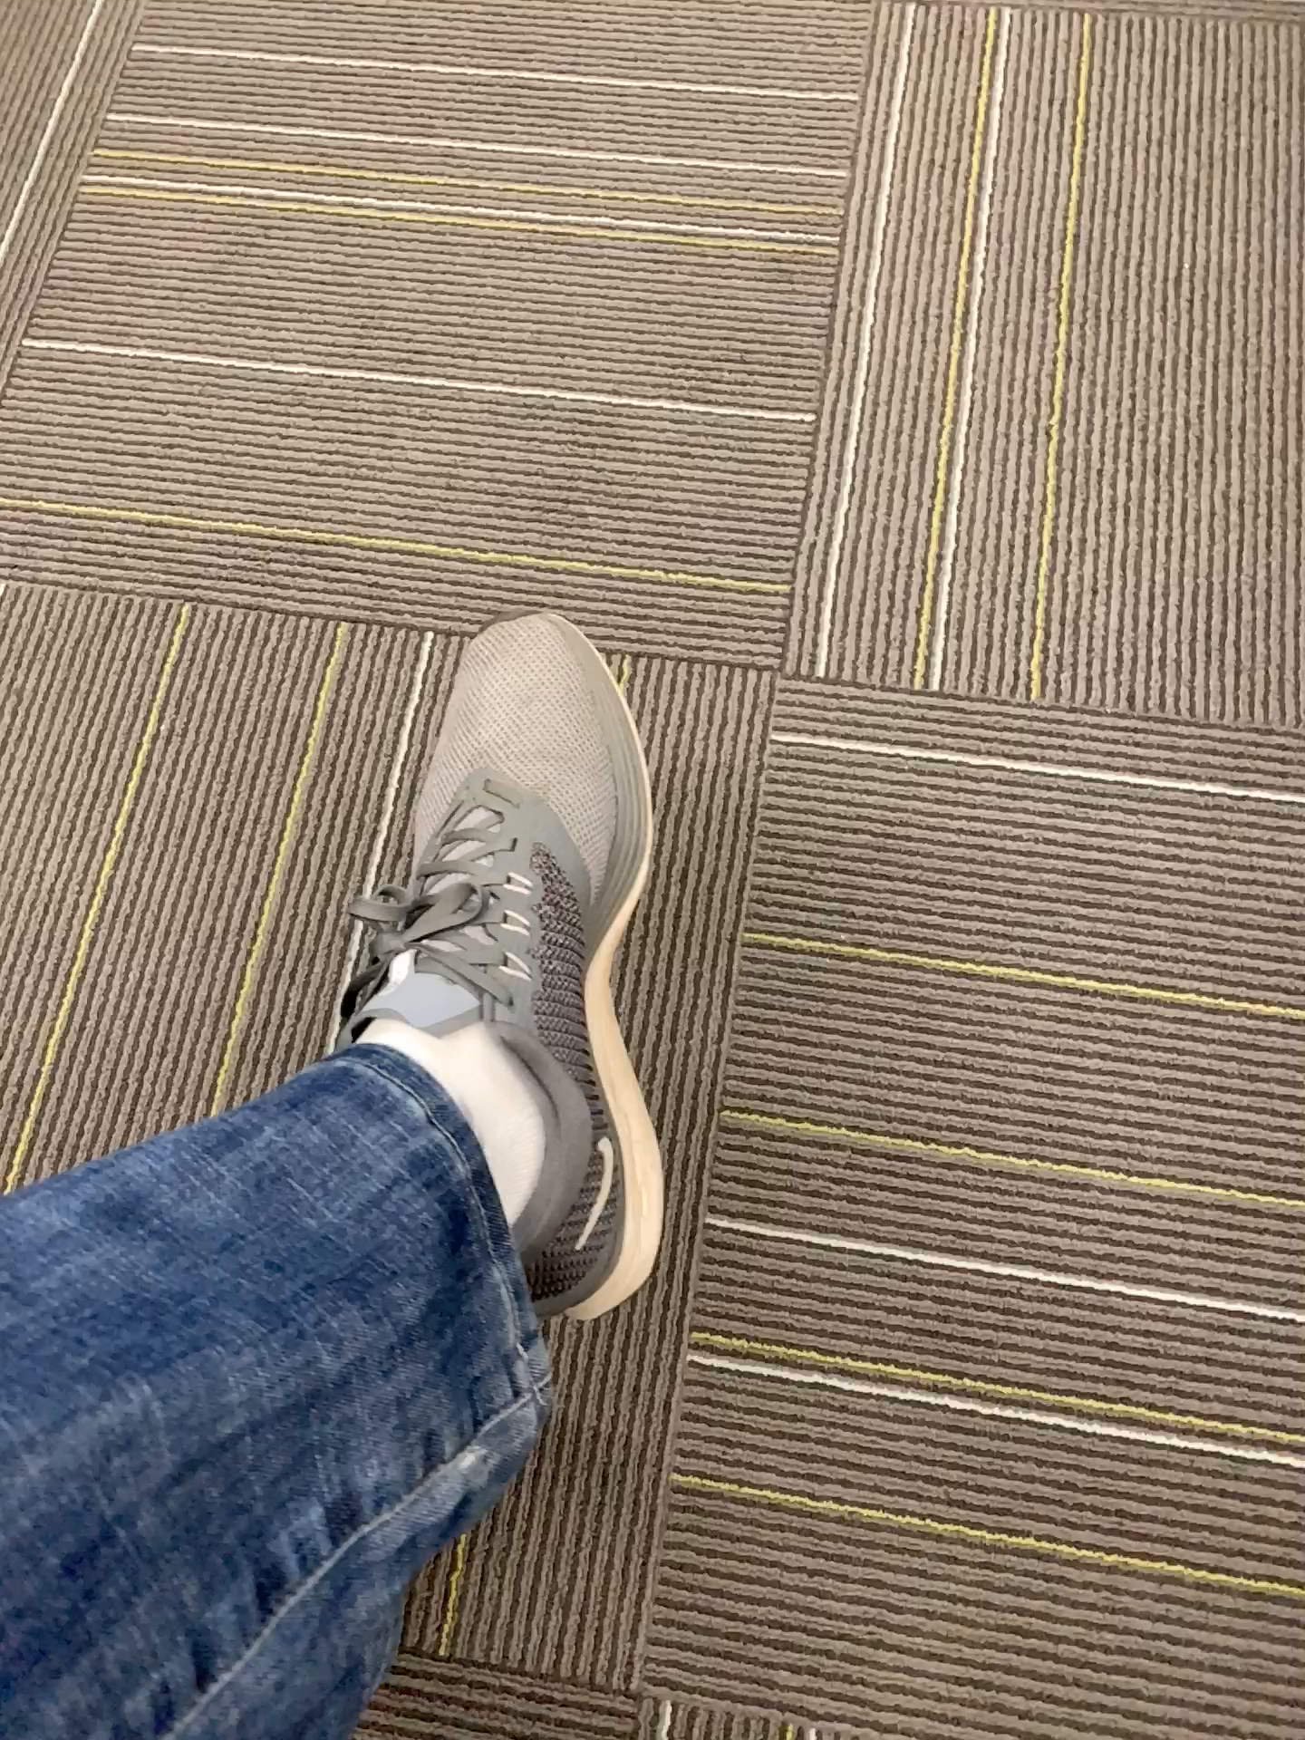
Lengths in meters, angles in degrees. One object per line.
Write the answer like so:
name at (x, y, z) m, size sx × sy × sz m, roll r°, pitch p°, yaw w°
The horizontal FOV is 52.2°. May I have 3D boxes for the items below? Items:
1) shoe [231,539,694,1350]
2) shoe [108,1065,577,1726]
shoe at (-0.076, 0.037, 0.554) m, size 0.127 × 0.115 × 0.297 m, roll -17°, pitch 63°, yaw 31°
shoe at (-0.166, 0.300, 0.806) m, size 0.124 × 0.180 × 0.310 m, roll 17°, pitch 73°, yaw 10°
